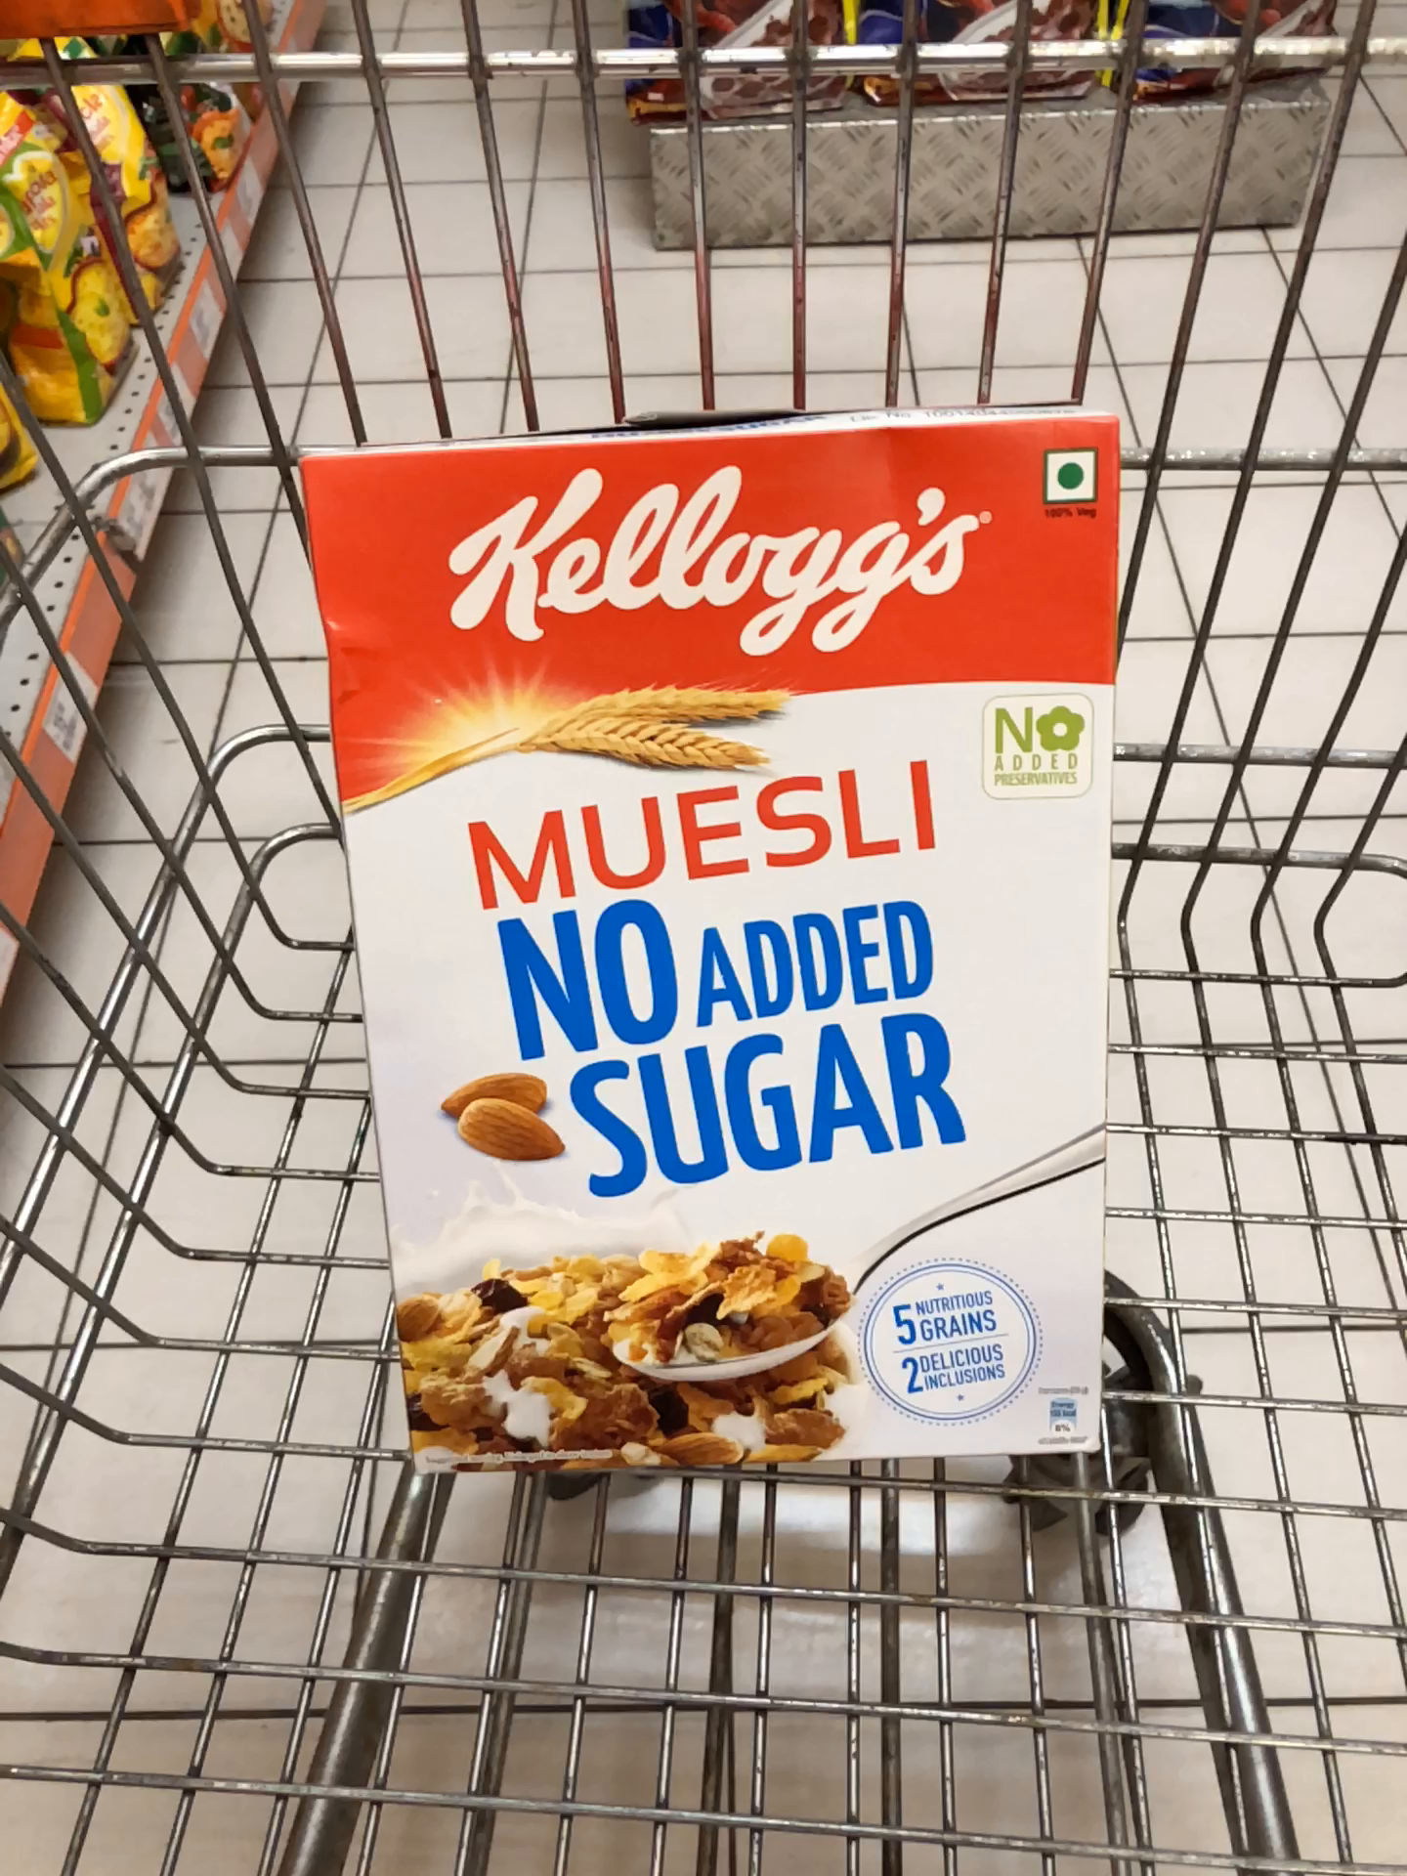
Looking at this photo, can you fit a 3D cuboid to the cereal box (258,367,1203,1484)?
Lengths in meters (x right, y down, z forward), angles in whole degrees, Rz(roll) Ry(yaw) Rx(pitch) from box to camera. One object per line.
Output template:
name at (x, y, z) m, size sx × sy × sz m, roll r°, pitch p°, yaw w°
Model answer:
cereal box at (0.010, 0.001, 0.386) m, size 0.190 × 0.259 × 0.070 m, roll -2°, pitch 18°, yaw 1°
